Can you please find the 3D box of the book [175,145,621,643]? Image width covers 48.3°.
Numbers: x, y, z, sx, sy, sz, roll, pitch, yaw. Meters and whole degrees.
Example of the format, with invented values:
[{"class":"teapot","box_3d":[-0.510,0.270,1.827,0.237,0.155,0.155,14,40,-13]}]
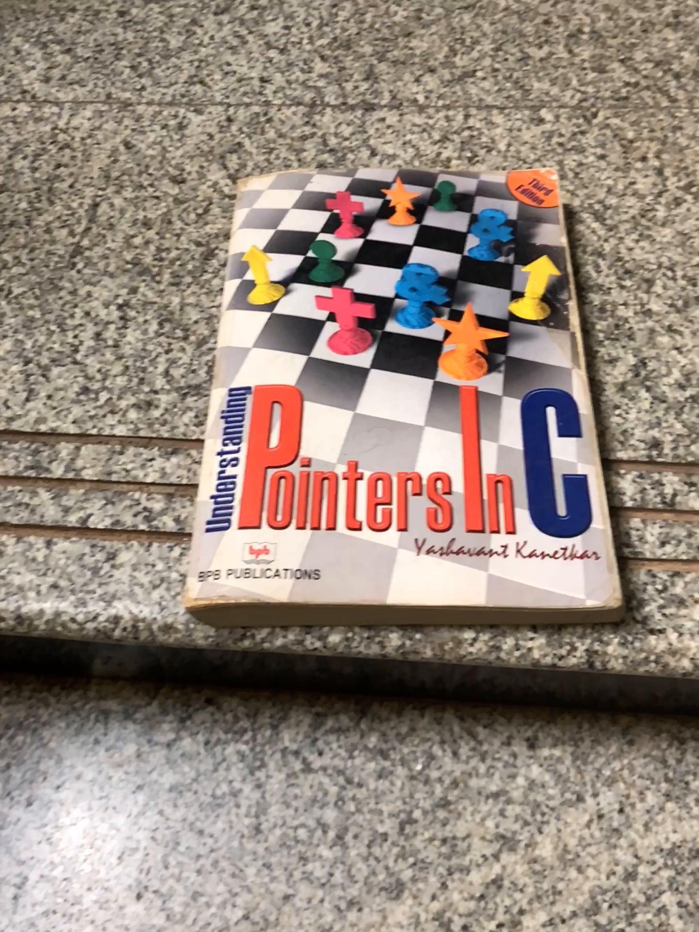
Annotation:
[{"class":"book","box_3d":[0.018,-0.042,0.314,0.140,0.030,0.220,0,60,3]}]
